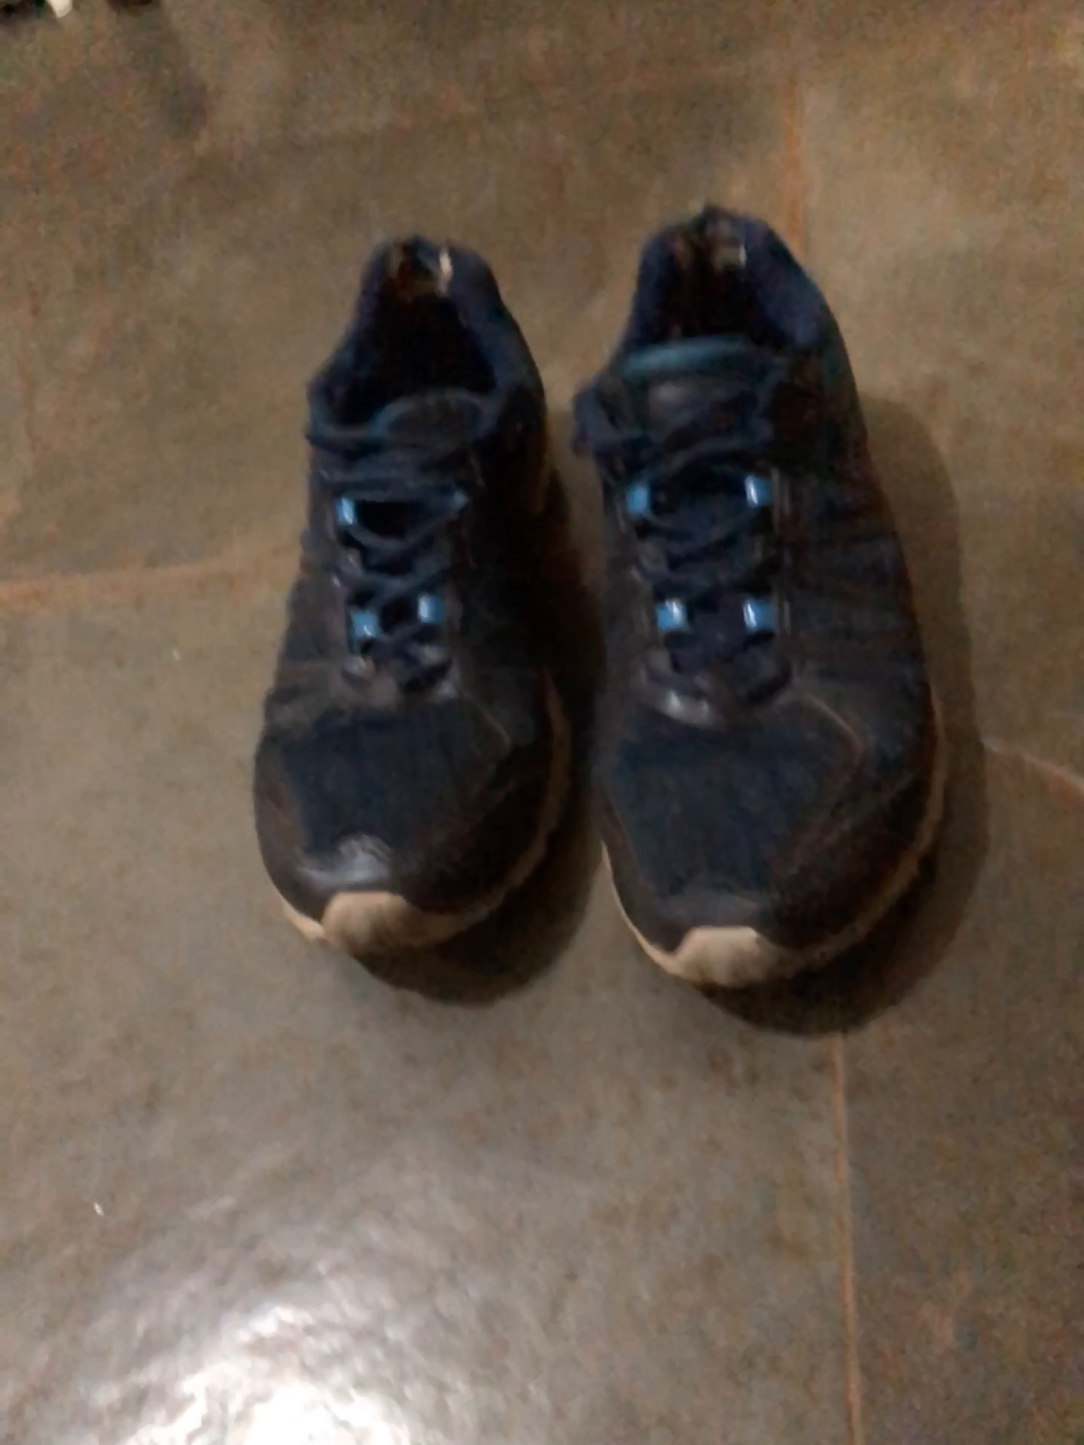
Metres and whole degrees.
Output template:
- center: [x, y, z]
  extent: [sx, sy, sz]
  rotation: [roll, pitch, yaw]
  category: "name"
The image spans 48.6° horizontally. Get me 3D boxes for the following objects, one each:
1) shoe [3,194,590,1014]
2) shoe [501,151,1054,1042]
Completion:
- center: [-0.059, -0.052, 0.425]
  extent: [0.120, 0.109, 0.281]
  rotation: [-4, 52, 12]
  category: "shoe"
- center: [0.075, -0.053, 0.392]
  extent: [0.120, 0.109, 0.281]
  rotation: [-2, 52, 13]
  category: "shoe"
